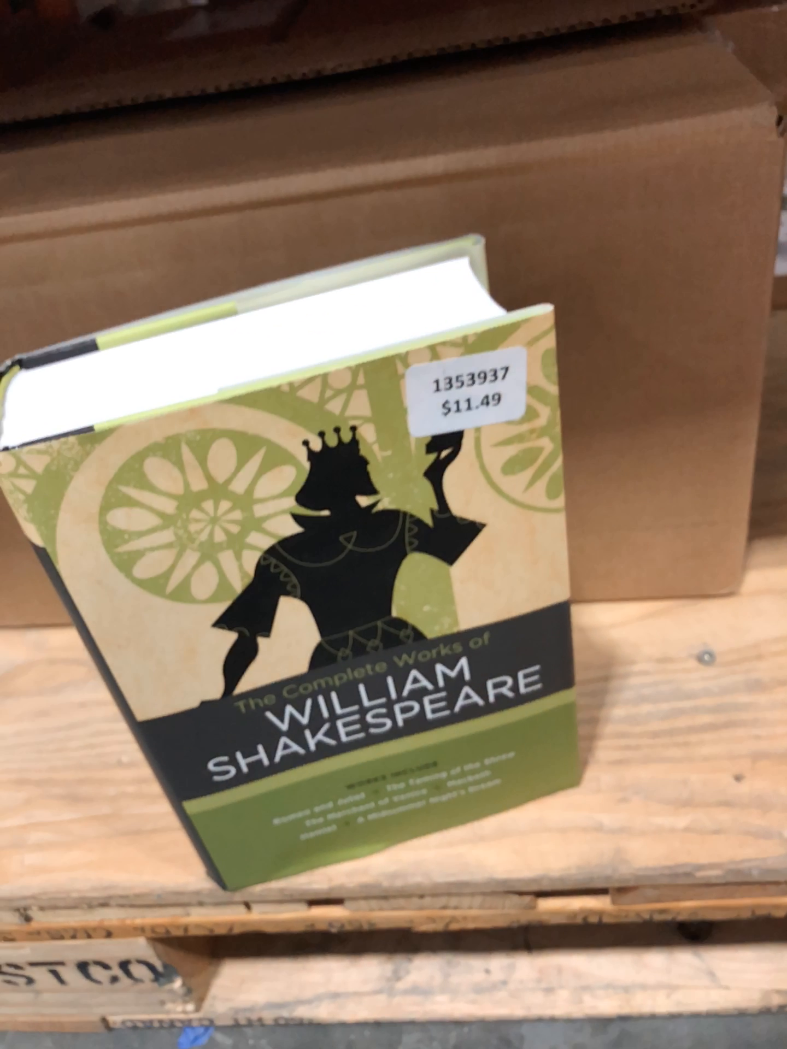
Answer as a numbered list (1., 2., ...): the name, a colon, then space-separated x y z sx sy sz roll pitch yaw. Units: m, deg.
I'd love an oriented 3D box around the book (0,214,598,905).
1. book: -0.022 0.028 0.353 0.181 0.239 0.080 -15 38 -4
